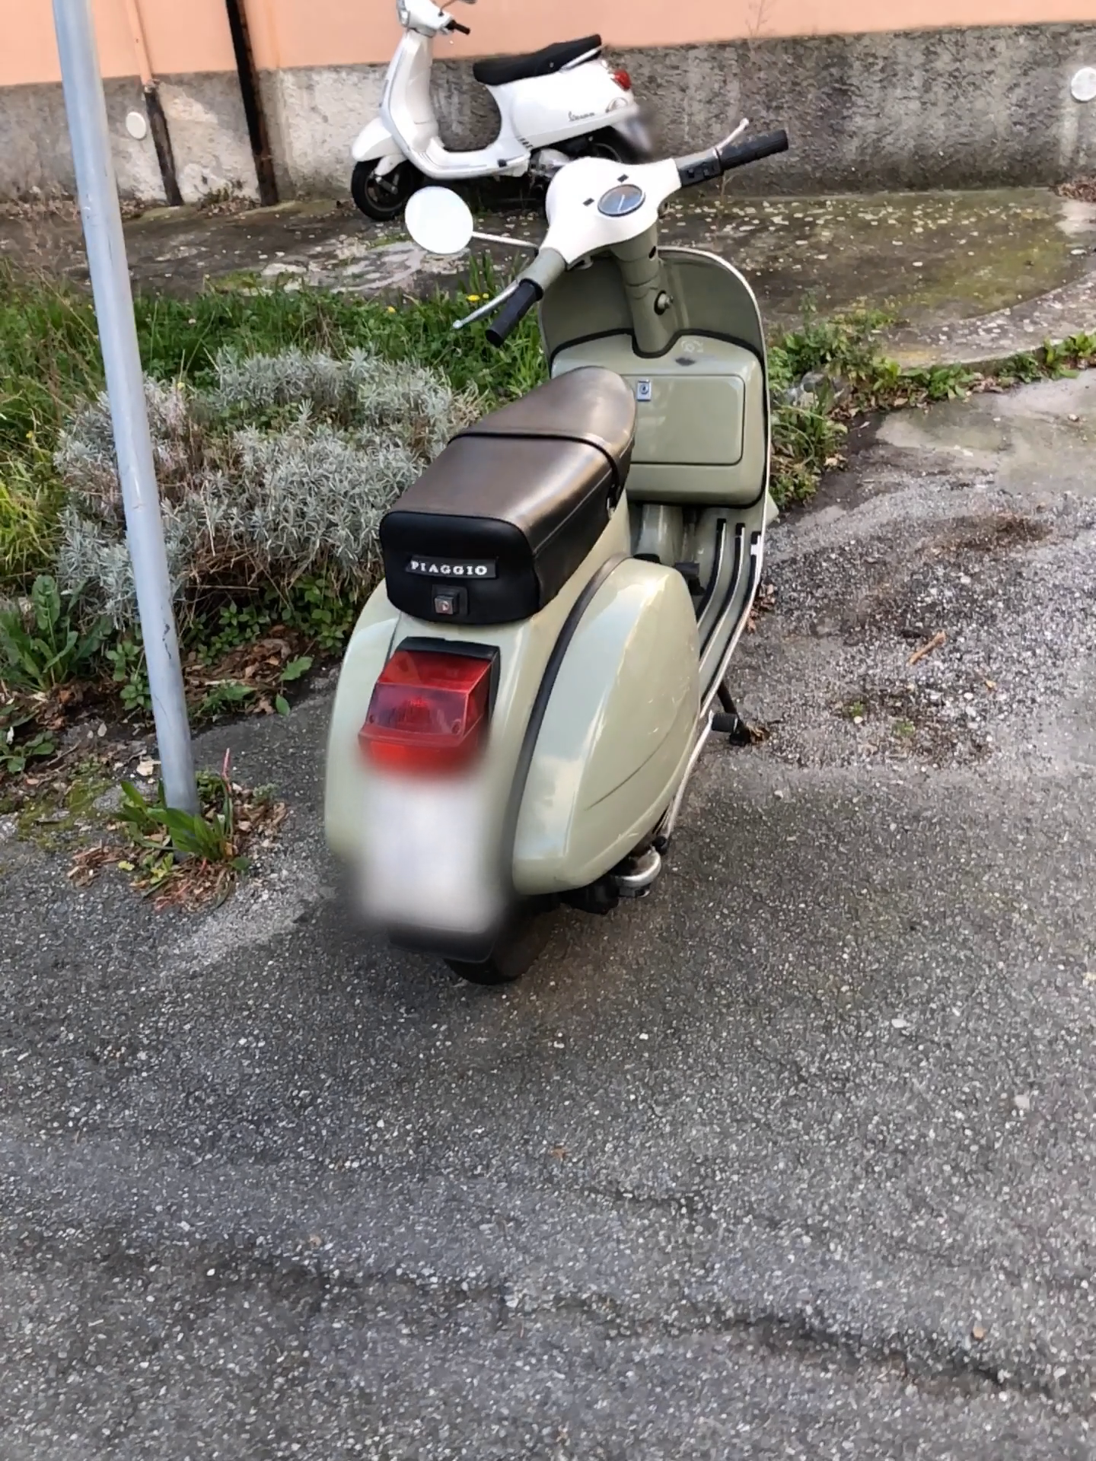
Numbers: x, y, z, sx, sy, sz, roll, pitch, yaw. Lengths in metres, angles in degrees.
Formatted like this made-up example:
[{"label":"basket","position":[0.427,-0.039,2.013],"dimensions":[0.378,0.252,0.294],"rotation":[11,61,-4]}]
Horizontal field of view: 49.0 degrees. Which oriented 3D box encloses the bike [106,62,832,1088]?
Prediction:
[{"label":"bike","position":[0.049,-0.403,2.002],"dimensions":[0.621,1.027,1.448],"rotation":[7,37,14]}]
